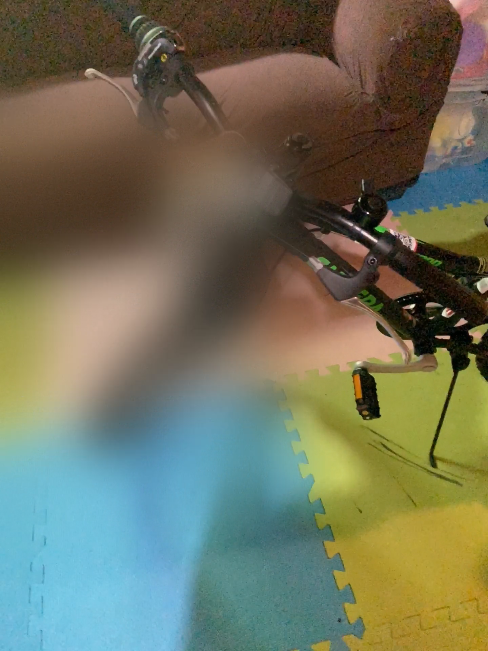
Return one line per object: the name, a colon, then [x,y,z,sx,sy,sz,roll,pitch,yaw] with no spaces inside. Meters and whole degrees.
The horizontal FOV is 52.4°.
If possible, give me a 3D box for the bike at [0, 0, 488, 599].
bike: [0.319,-0.035,0.856,1.268,0.841,0.536,-8,48,-2]
